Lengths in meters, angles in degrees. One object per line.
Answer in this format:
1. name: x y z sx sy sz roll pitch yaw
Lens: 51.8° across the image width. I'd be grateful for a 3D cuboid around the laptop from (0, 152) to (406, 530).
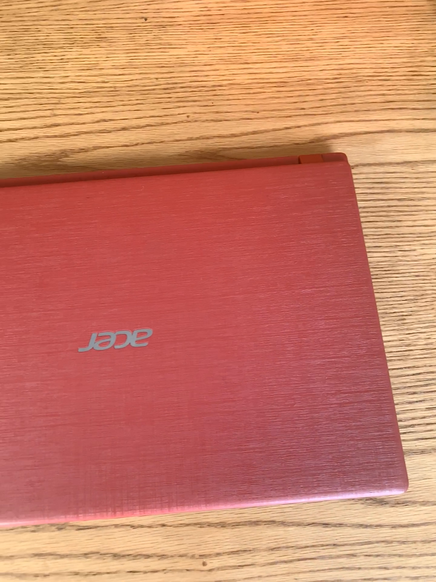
1. laptop: -0.073 0.026 0.317 0.362 0.013 0.236 -5 75 1
